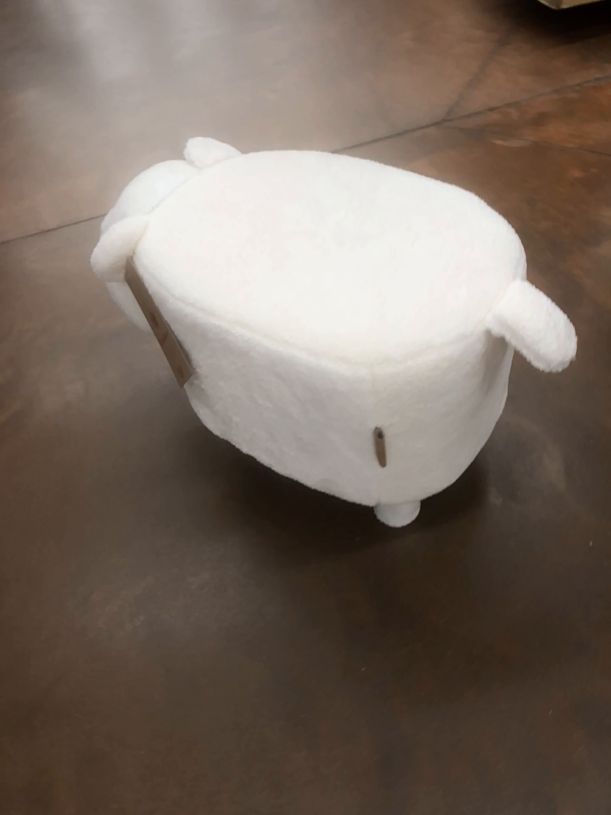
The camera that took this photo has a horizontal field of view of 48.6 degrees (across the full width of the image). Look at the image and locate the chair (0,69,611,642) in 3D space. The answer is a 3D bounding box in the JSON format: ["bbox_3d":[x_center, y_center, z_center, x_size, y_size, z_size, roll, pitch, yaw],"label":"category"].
[{"bbox_3d":[0.004,-0.117,0.894,0.631,0.349,0.441,29,60,28],"label":"chair"}]
